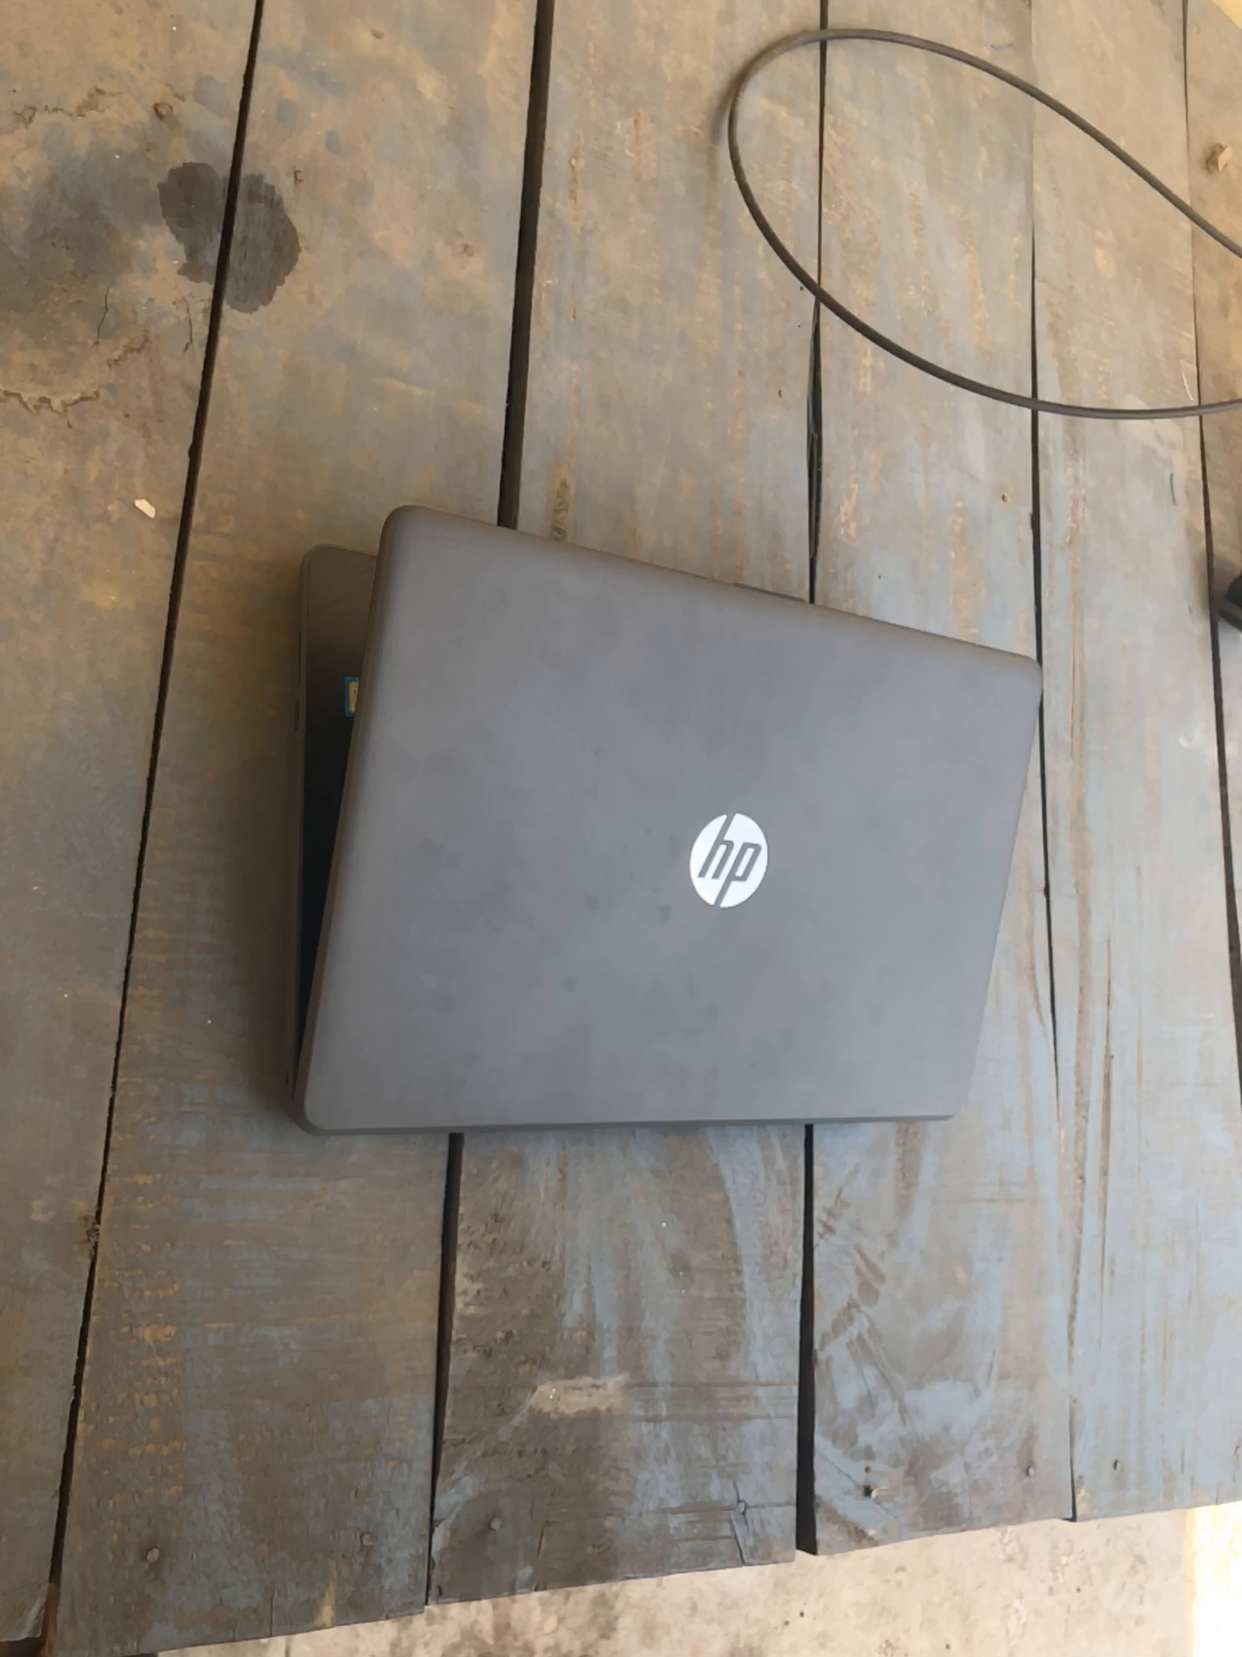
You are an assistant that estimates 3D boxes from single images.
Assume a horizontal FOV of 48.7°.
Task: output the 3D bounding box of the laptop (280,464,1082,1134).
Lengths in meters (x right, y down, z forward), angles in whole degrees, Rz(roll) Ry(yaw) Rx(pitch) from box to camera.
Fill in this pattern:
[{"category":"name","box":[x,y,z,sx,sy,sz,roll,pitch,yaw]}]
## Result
[{"category":"laptop","box":[0.040,0.010,0.625,0.362,0.096,0.243,7,75,-33]}]
